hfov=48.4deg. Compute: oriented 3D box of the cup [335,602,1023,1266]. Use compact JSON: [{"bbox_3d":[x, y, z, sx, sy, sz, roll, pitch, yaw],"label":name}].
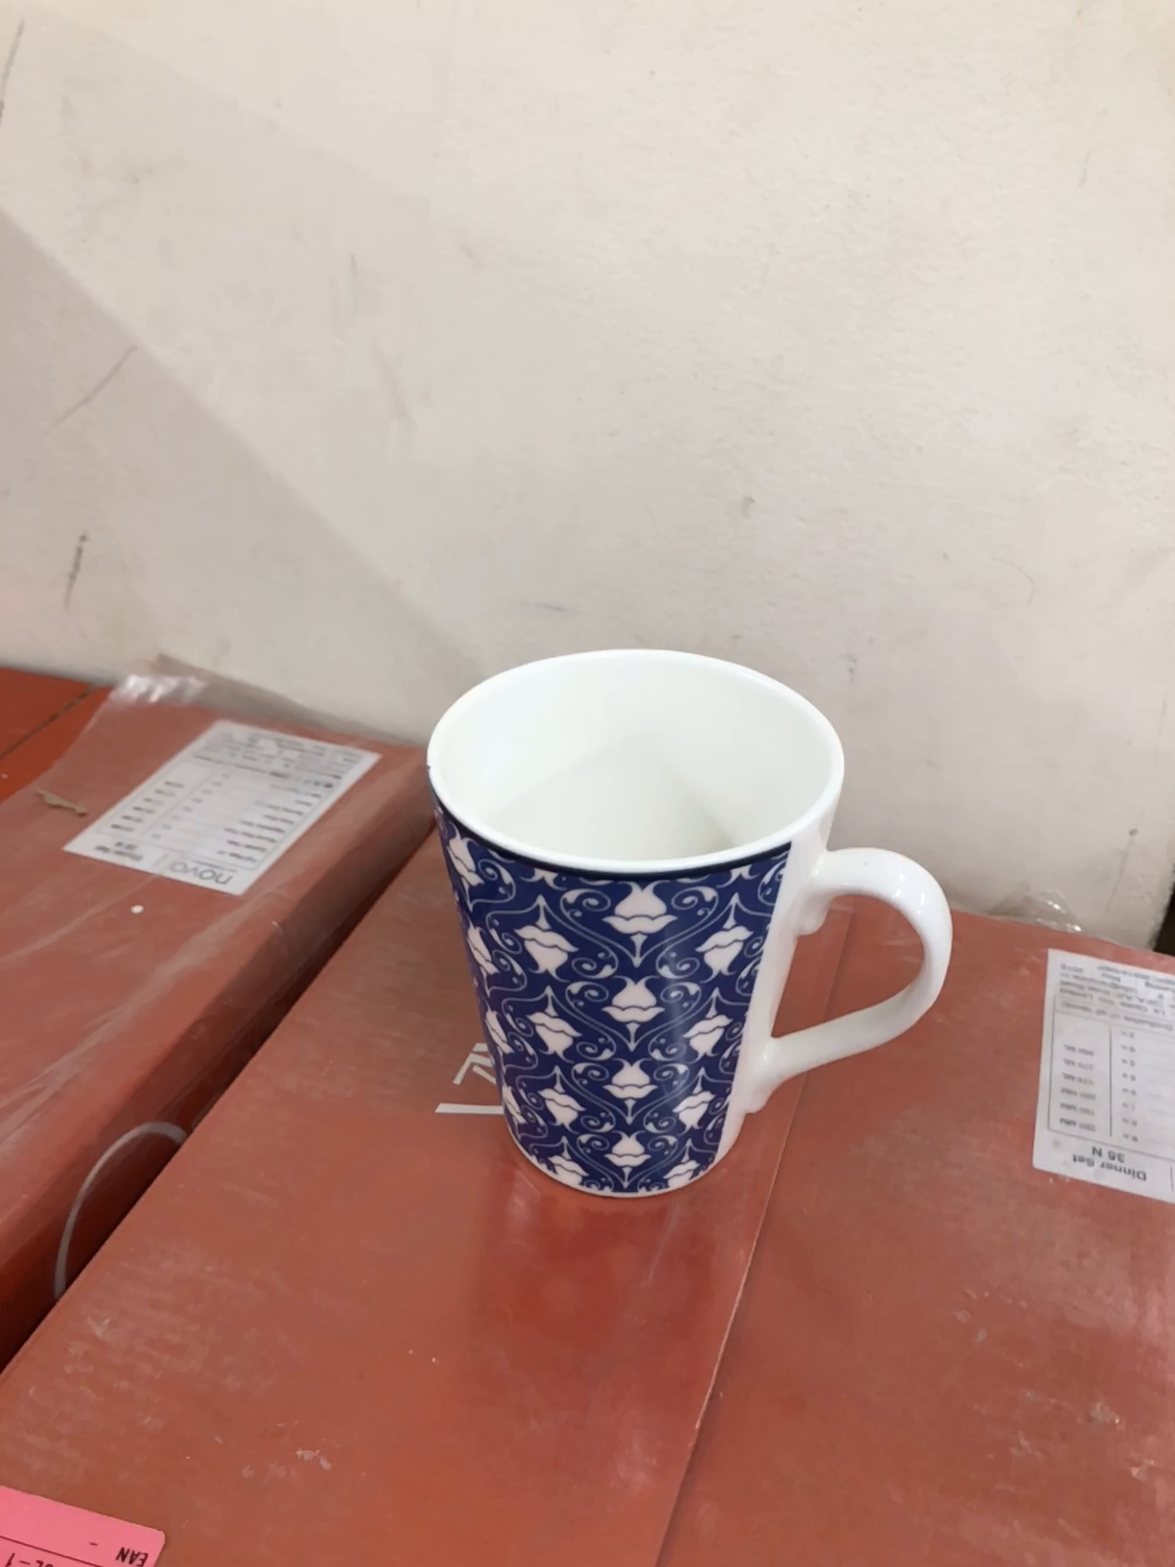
[{"bbox_3d":[0.021,0.029,0.286,0.120,0.099,0.081,7,34,9],"label":"cup"}]
